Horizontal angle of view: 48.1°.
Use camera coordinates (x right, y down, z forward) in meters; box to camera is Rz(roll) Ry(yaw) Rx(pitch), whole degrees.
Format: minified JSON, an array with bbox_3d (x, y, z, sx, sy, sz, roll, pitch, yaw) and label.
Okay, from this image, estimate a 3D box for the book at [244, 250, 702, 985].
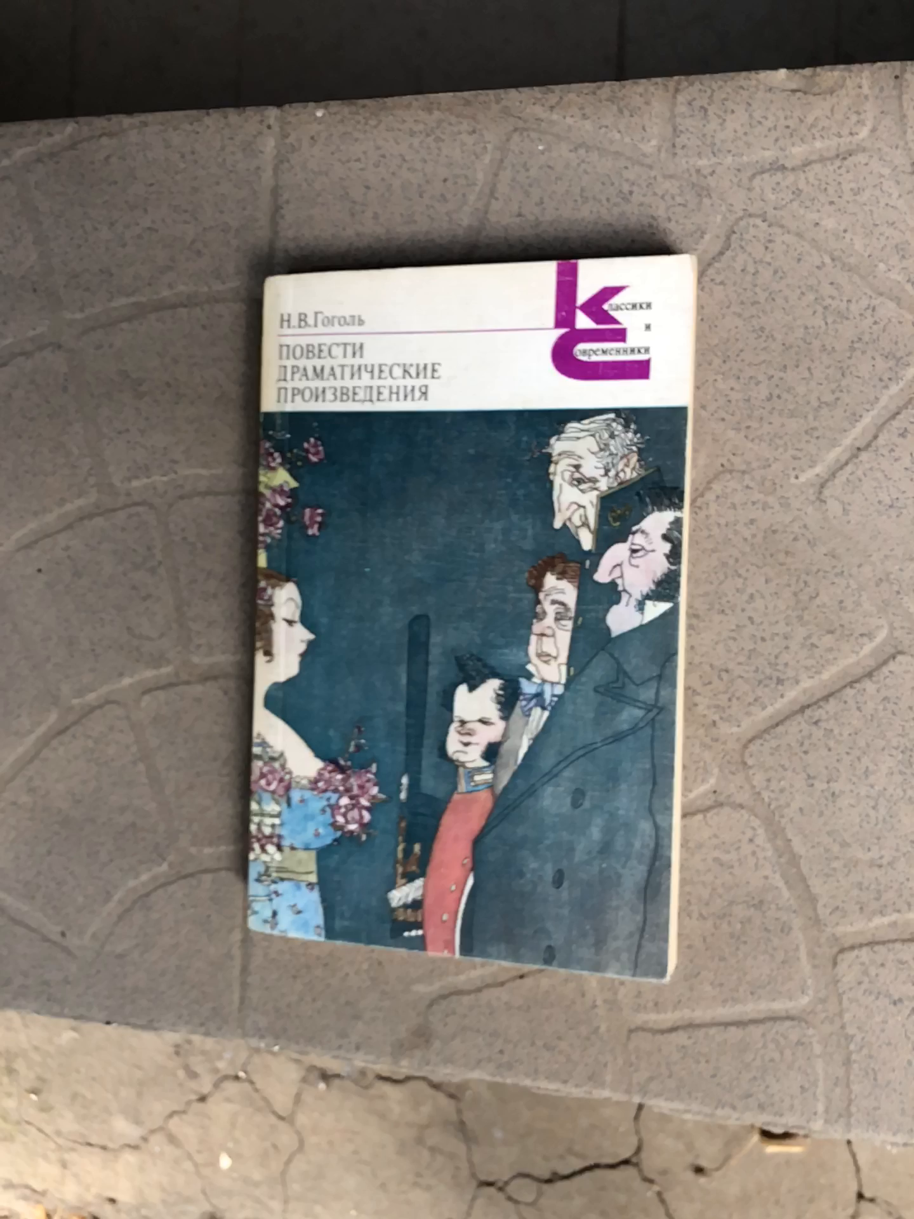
[{"bbox_3d":[0.003,0.000,0.294,0.123,0.021,0.193,3,92,15],"label":"book"}]
